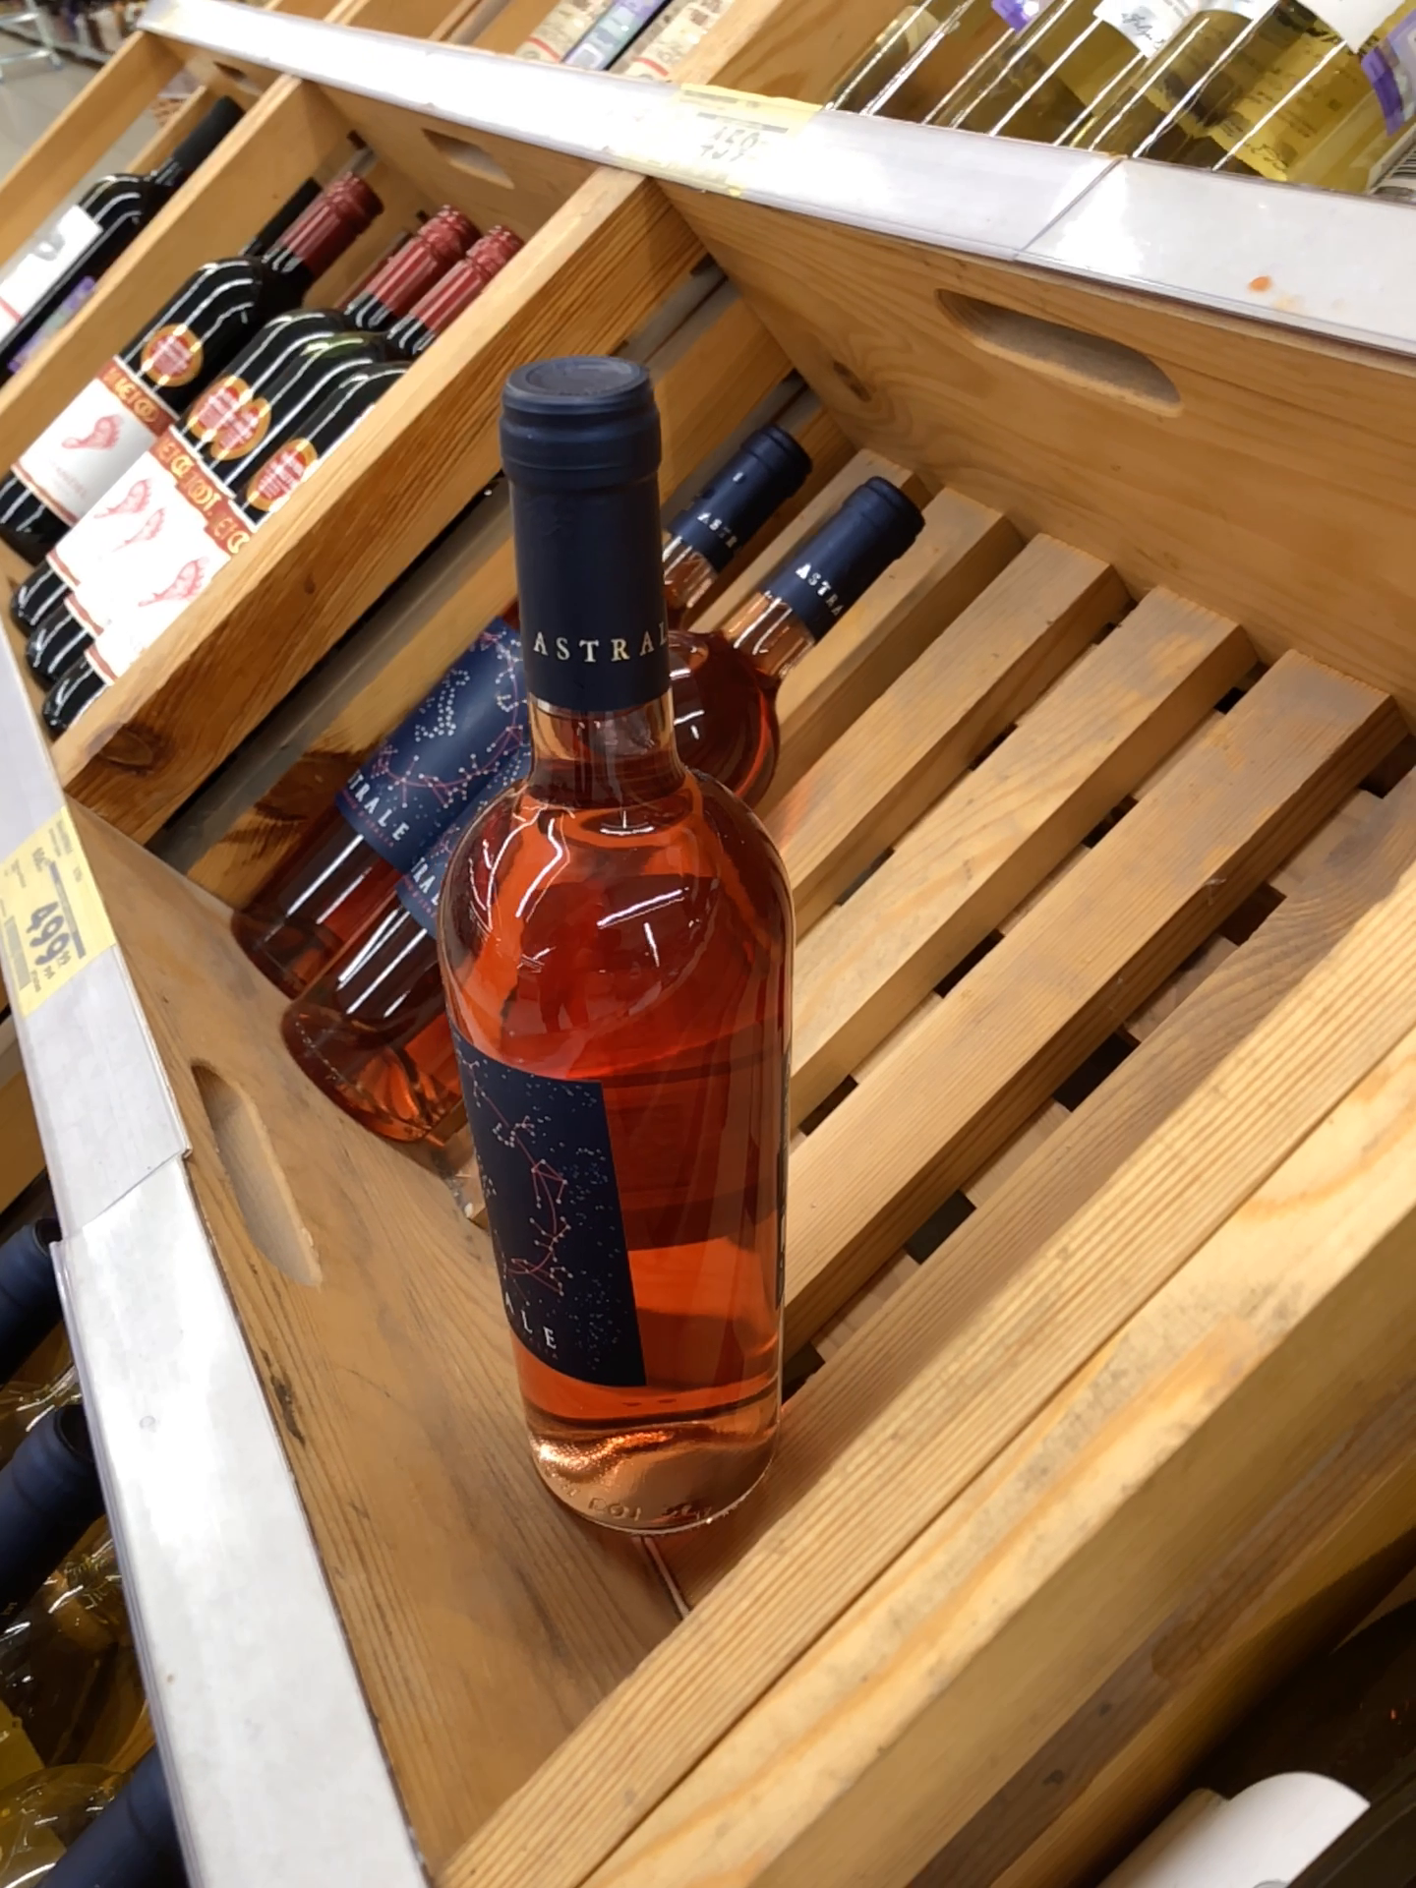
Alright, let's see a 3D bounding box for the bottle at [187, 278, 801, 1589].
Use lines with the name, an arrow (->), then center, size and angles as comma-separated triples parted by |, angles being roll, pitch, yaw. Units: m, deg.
bottle -> -0.037, 0.015, 0.356 | 0.080, 0.288, 0.080 | -3, 35, 2
